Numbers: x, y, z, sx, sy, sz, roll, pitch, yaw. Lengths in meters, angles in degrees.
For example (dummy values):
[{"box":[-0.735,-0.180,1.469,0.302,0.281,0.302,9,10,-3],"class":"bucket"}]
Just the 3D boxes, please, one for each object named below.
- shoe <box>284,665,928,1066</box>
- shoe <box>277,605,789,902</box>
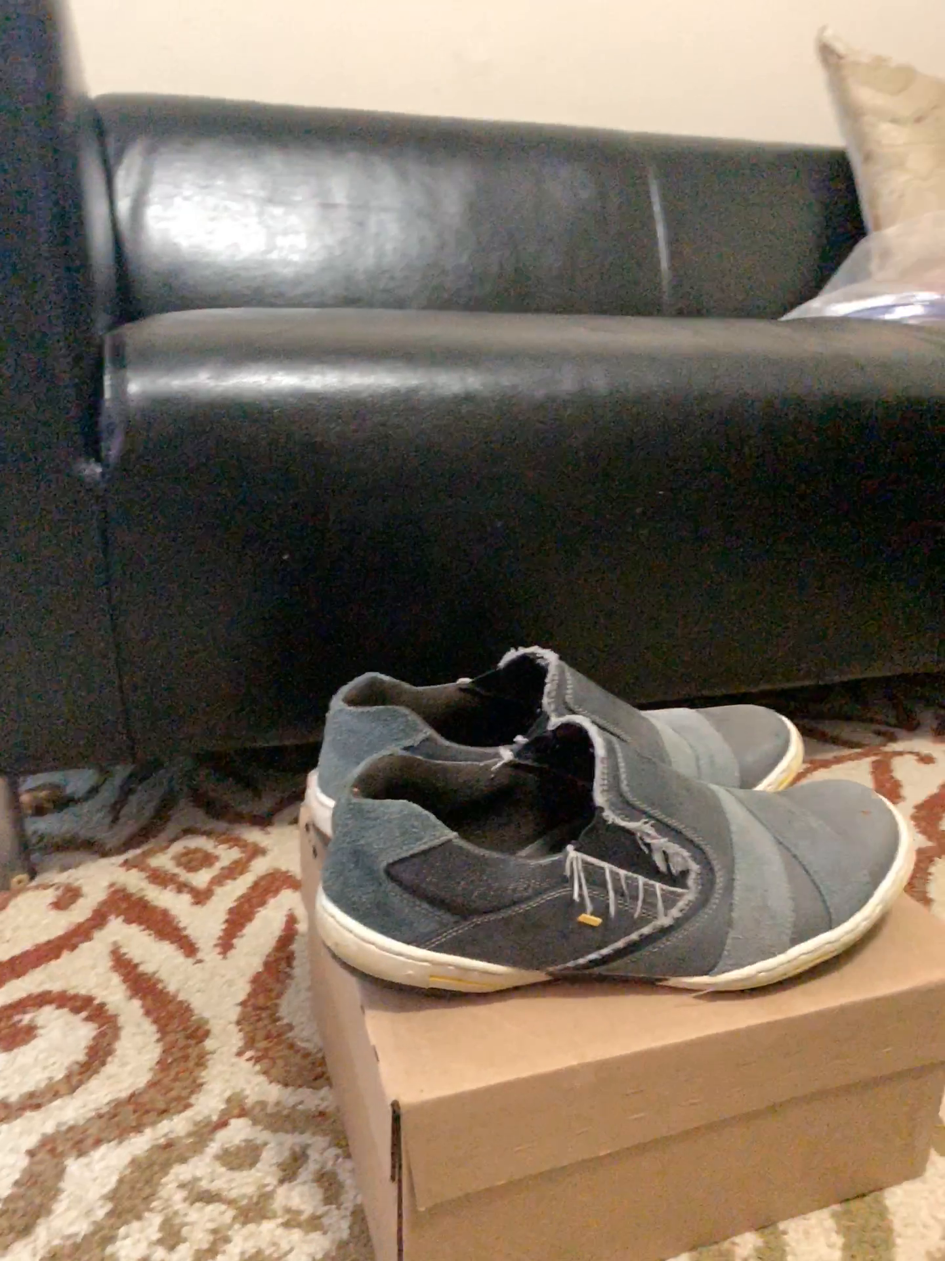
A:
[{"box":[0.047,0.095,0.459,0.260,0.100,0.141,-3,19,-12],"class":"shoe"},{"box":[0.023,0.059,0.561,0.260,0.100,0.141,-3,19,-12],"class":"shoe"}]
